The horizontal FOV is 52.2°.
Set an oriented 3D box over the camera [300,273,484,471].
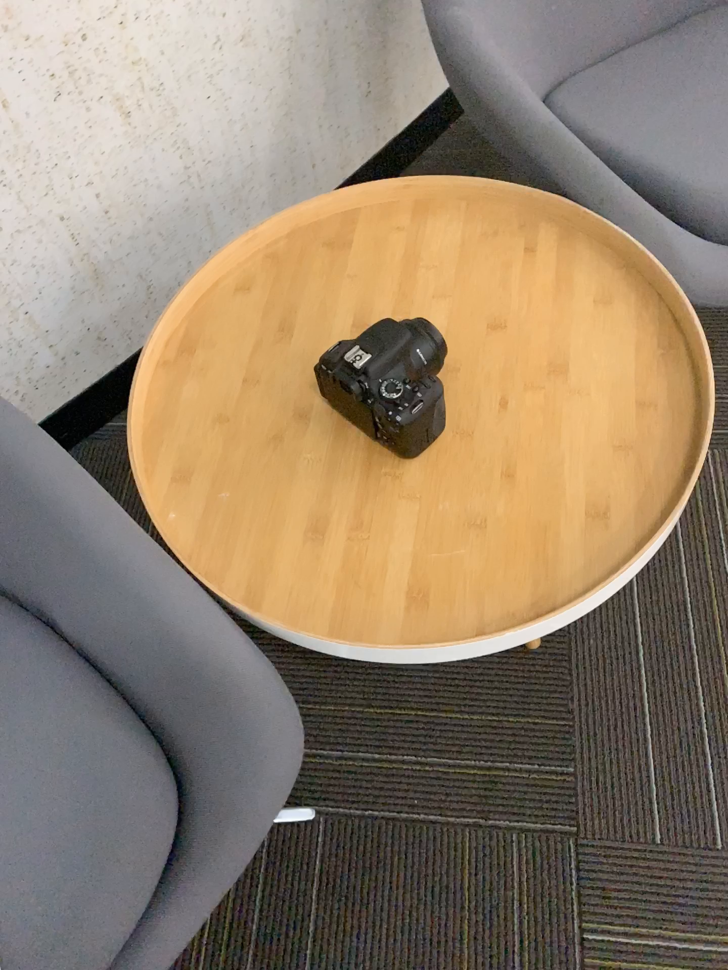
[{"bbox_3d":[0.031,-0.116,0.758,0.134,0.100,0.117,39,71,24],"label":"camera"}]
